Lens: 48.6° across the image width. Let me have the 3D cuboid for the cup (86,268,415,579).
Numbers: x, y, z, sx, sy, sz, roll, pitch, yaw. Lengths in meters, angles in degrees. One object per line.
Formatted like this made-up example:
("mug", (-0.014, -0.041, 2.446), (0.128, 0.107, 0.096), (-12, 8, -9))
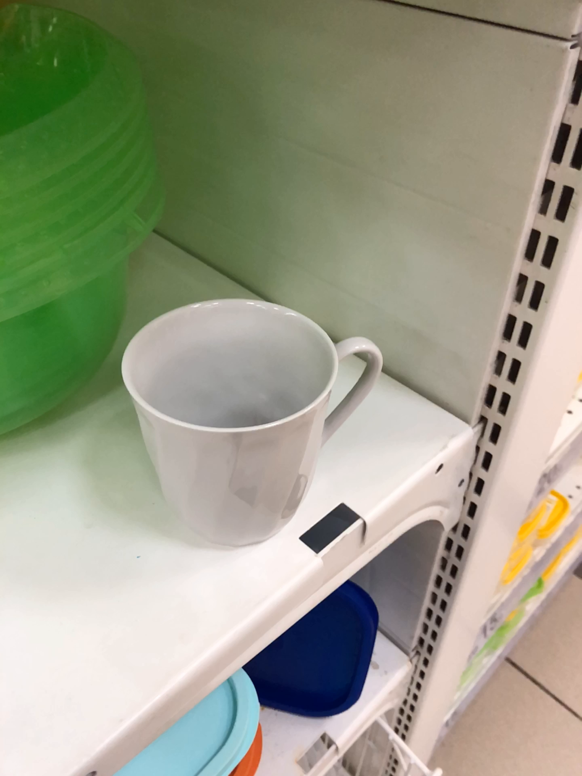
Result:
("cup", (-0.022, 0.012, 0.296), (0.119, 0.080, 0.090), (-12, 43, -13))
